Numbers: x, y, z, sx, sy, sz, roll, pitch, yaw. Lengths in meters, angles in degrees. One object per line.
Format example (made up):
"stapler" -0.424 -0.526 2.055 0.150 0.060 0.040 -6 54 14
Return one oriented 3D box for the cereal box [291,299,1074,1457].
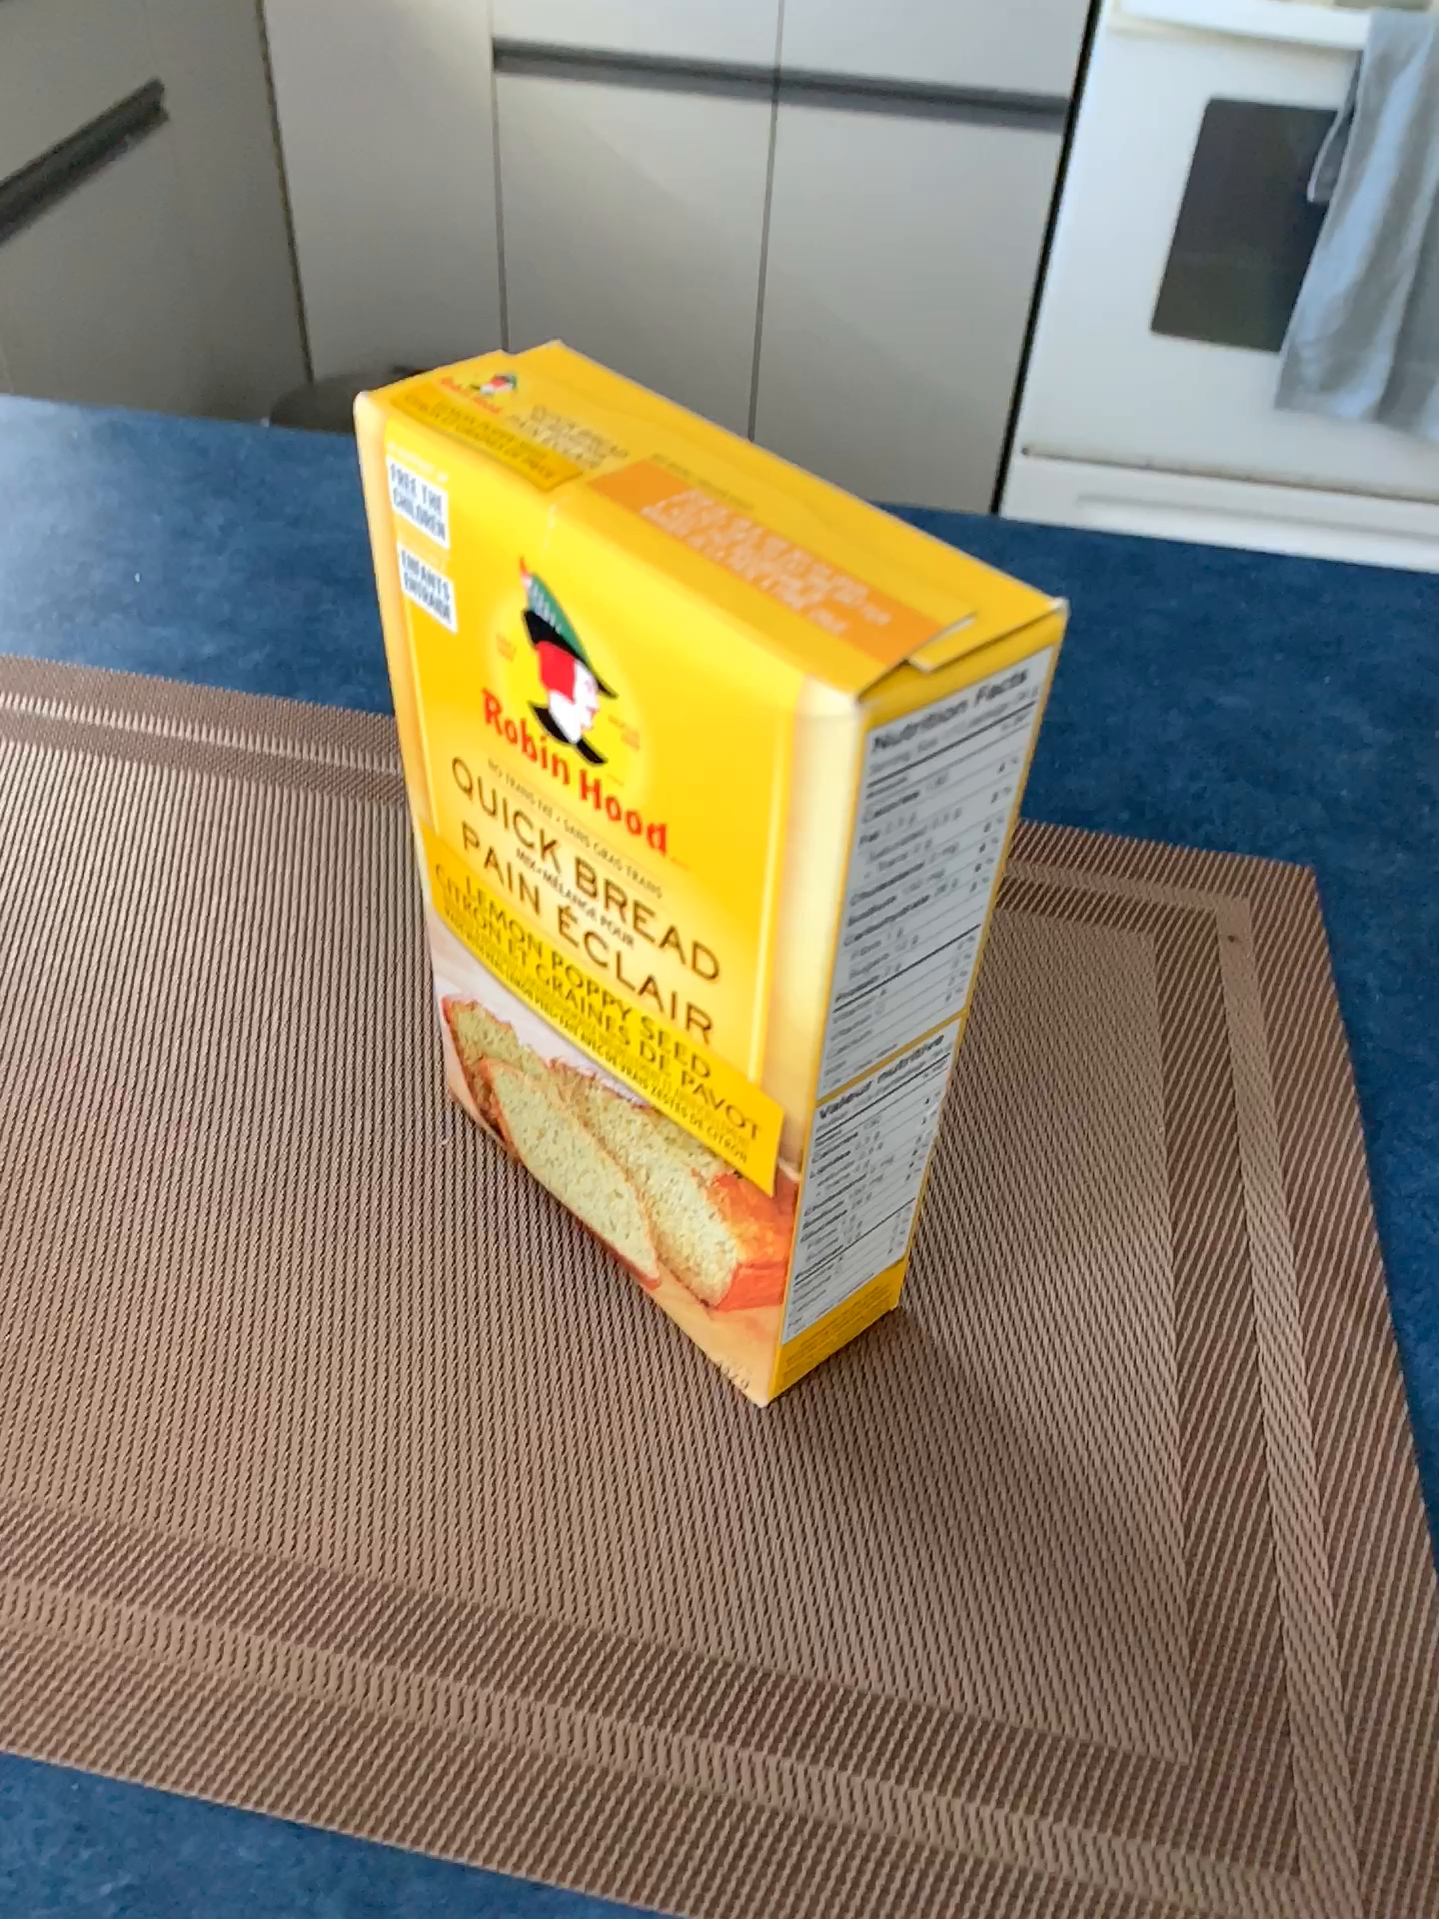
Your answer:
"cereal box" -0.016 -0.008 0.280 0.040 0.178 0.131 -30 54 -30
